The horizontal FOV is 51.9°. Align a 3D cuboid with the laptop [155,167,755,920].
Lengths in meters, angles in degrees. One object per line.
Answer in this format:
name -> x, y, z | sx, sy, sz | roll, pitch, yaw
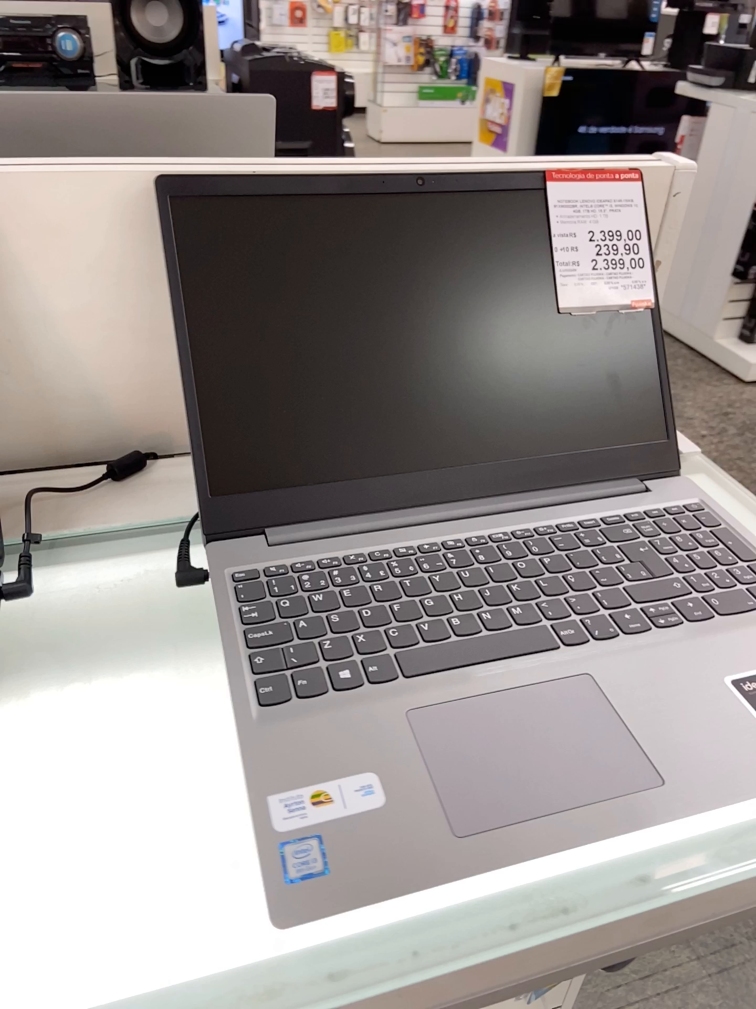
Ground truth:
laptop -> 0.081, -0.051, 0.465 | 0.370, 0.192, 0.404 | -7, 36, -15
